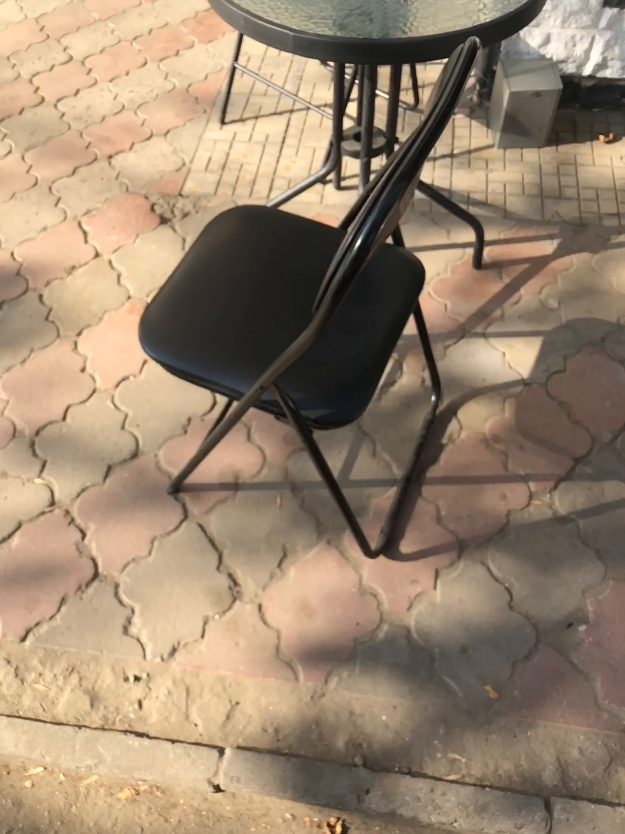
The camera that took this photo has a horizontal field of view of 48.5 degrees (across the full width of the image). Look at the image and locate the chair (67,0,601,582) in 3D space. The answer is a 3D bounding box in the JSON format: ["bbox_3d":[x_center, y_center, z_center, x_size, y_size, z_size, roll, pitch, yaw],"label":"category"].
[{"bbox_3d":[0.063,-0.238,1.289,0.570,0.837,0.582,19,52,14],"label":"chair"}]
